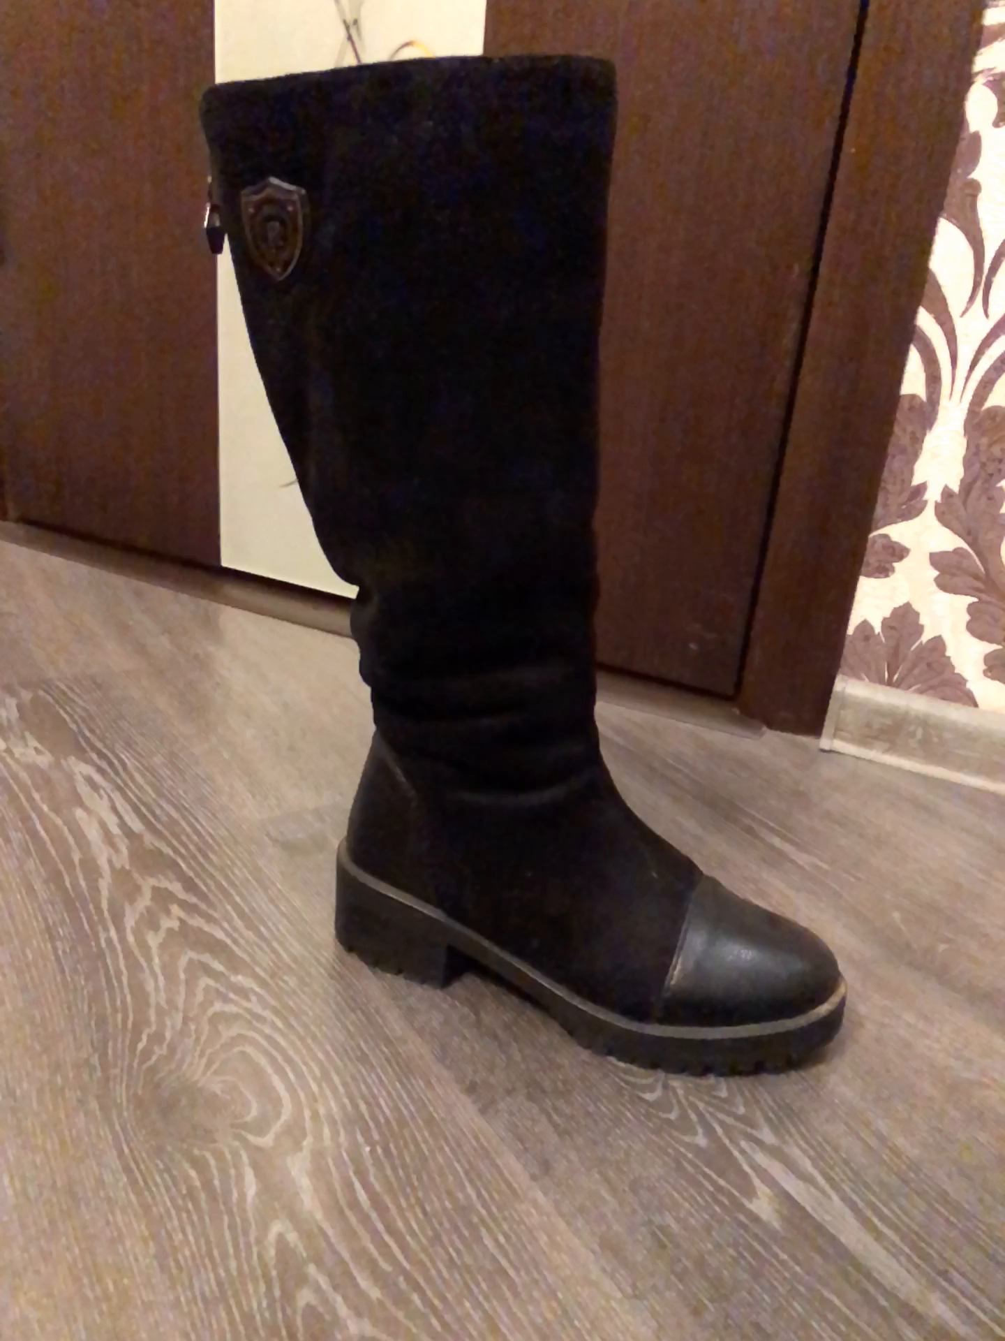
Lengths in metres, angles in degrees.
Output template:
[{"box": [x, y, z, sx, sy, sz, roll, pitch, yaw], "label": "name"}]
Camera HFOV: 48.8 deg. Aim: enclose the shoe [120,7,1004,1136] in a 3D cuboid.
[{"box": [0.016, -0.041, 0.440, 0.290, 0.358, 0.121, 12, 22, 15], "label": "shoe"}]
